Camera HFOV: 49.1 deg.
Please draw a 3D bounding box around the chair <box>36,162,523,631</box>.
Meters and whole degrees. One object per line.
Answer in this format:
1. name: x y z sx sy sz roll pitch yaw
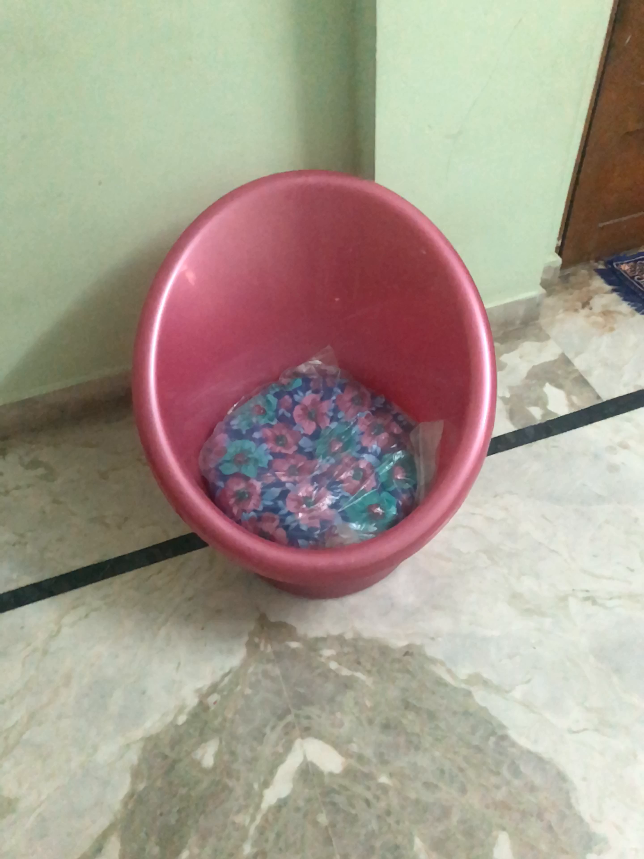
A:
1. chair: -0.016 -0.079 1.337 0.640 0.547 0.664 3 48 7
